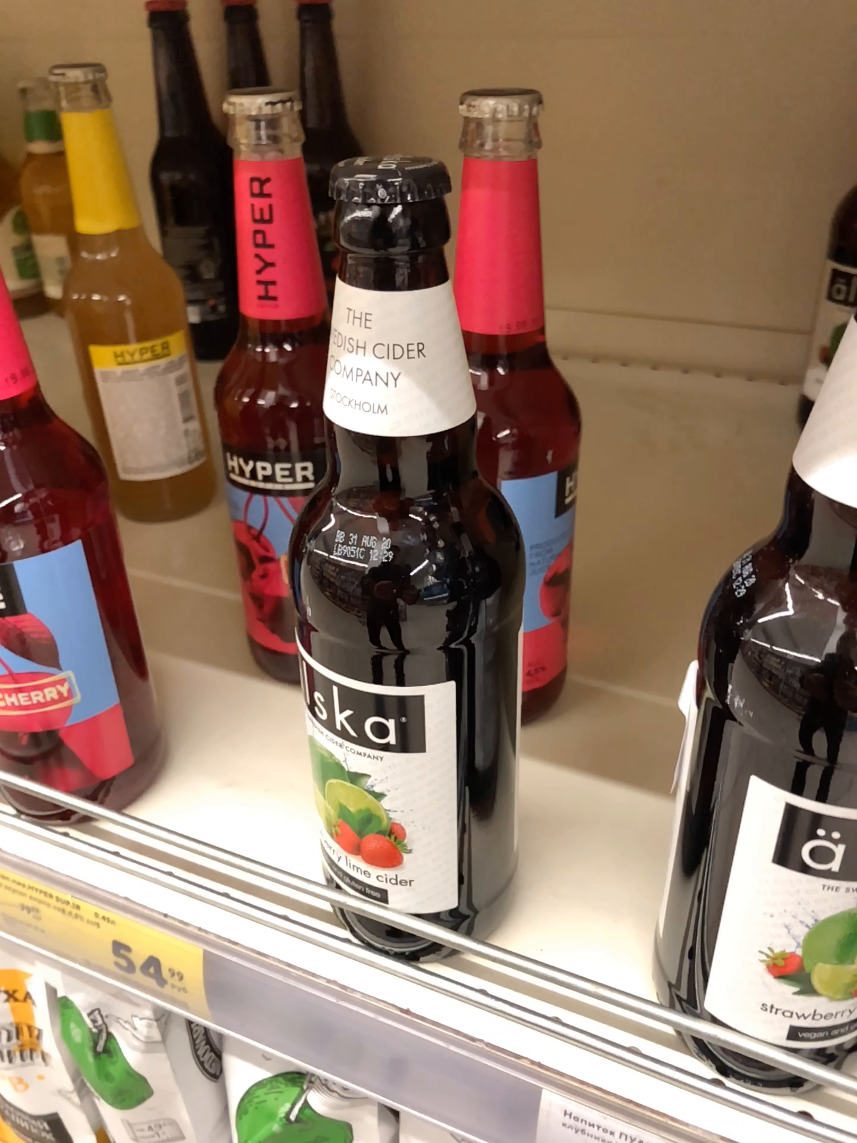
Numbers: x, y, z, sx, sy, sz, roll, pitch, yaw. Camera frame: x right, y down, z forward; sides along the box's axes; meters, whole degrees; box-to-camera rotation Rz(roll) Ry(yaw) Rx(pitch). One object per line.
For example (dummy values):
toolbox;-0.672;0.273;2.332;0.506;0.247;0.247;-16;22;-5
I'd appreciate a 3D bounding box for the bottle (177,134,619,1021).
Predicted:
bottle;-0.003;0.011;0.275;0.070;0.239;0.070;-2;31;1
